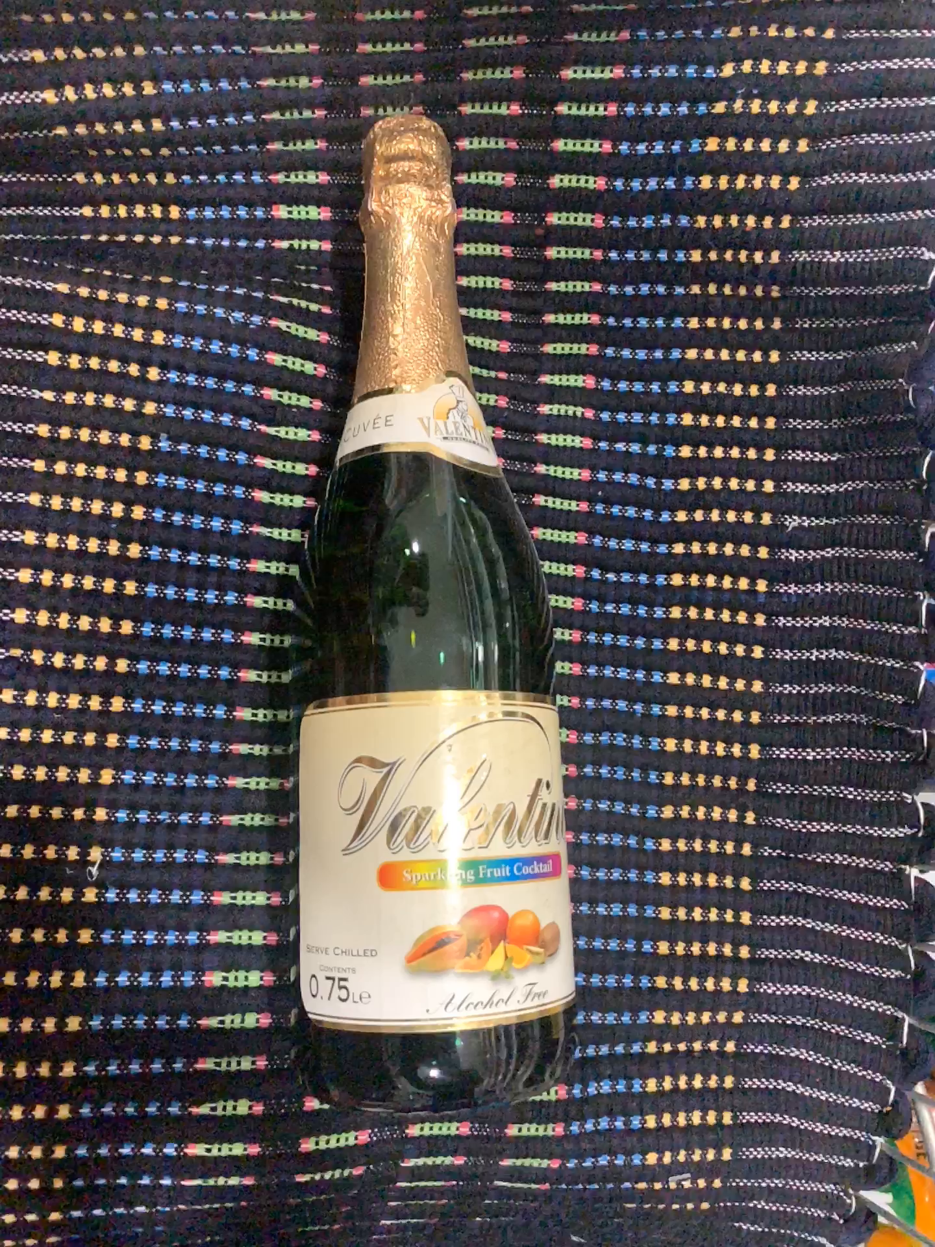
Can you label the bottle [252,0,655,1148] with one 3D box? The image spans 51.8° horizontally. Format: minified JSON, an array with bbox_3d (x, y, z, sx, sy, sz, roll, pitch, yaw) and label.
[{"bbox_3d":[-0.017,-0.041,0.310,0.090,0.080,0.350,2,76,-22],"label":"bottle"}]
